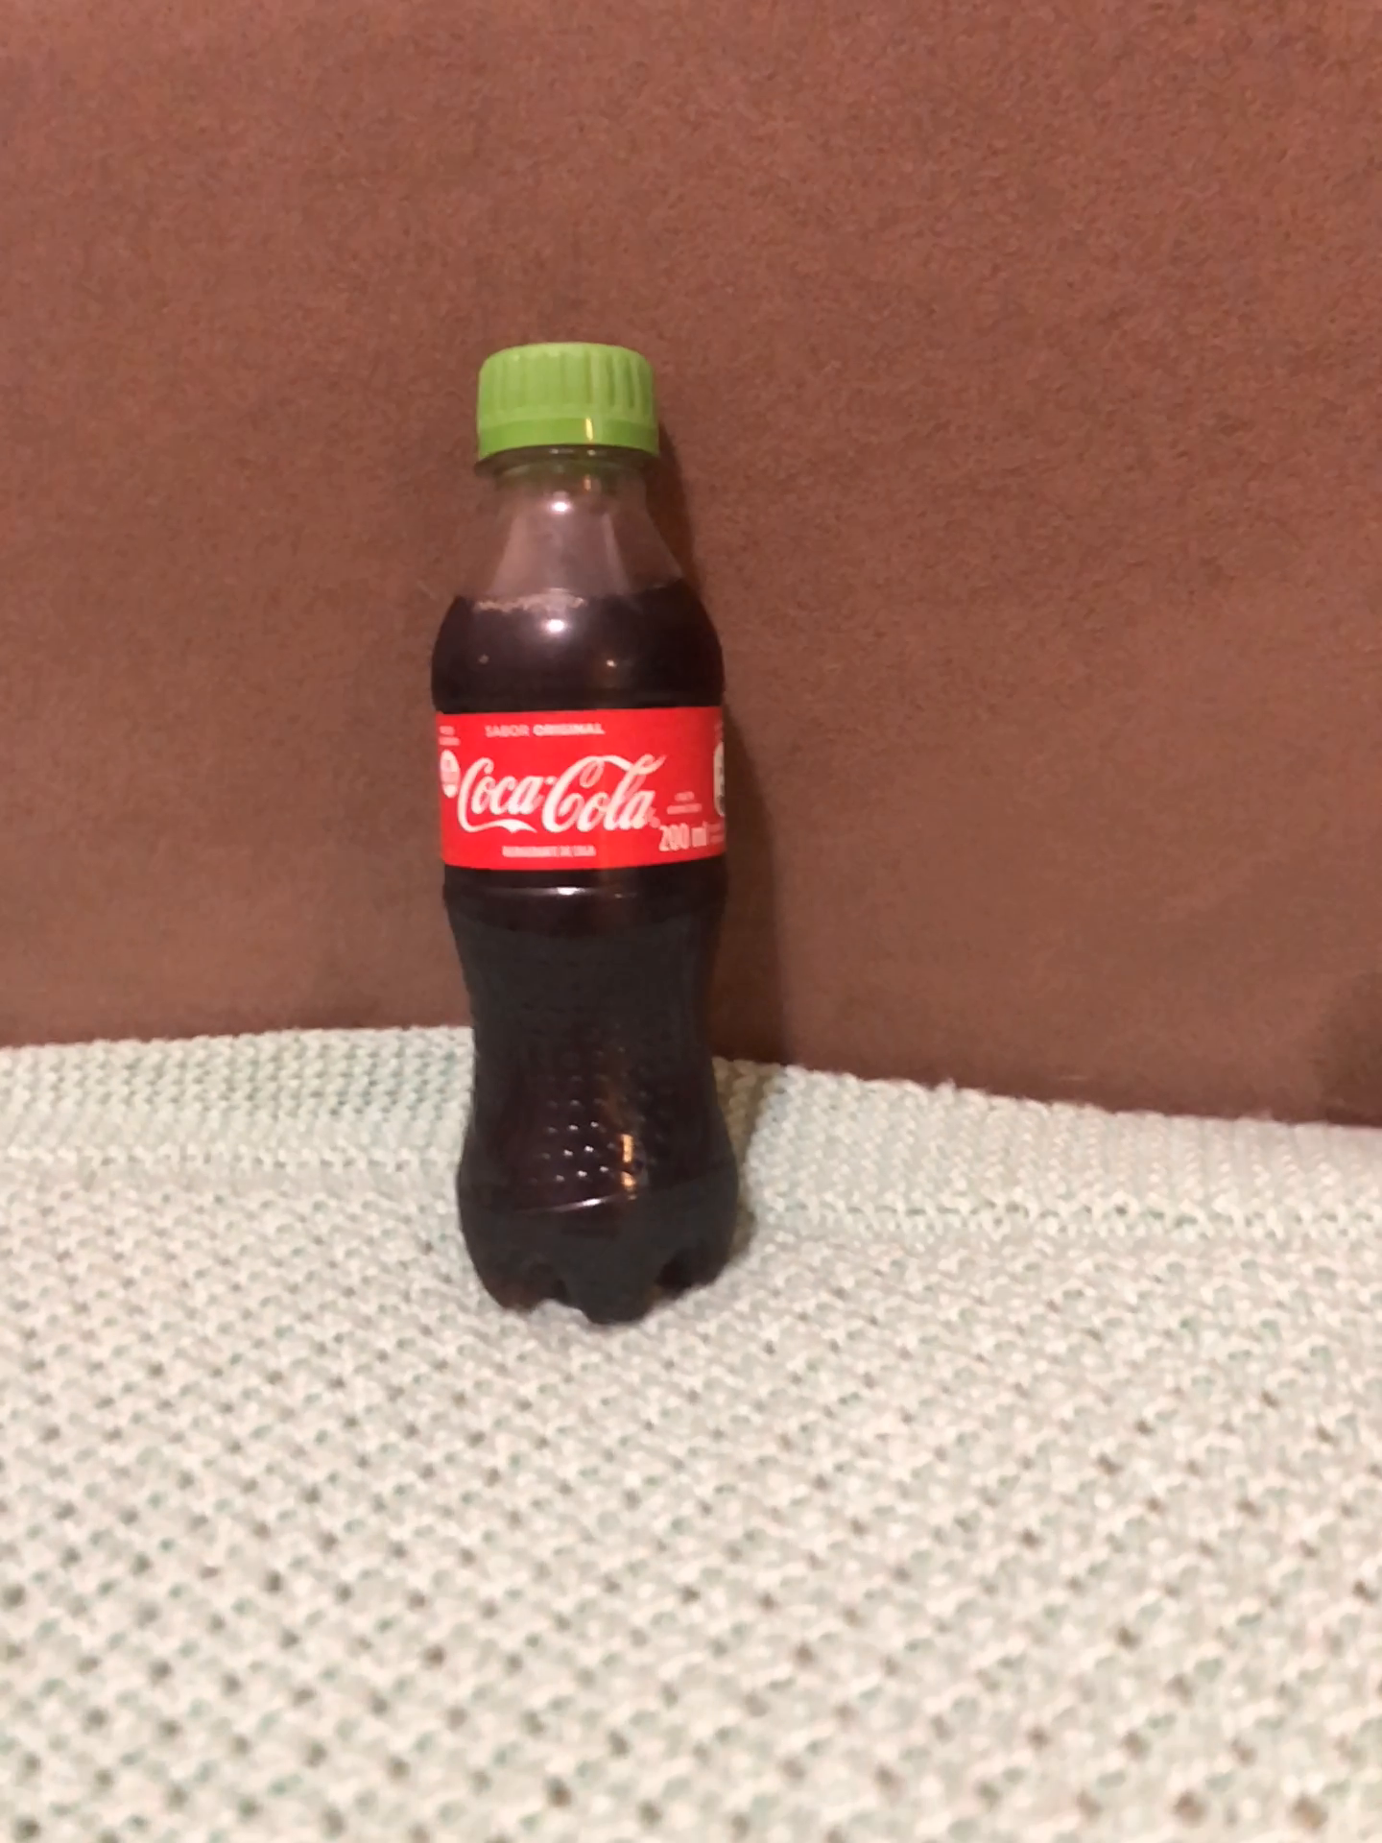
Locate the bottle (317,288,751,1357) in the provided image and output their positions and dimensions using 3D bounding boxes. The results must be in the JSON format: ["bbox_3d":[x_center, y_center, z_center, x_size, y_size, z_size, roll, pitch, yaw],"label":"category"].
[{"bbox_3d":[-0.022,-0.016,0.276,0.060,0.169,0.060,-2,9,0],"label":"bottle"}]
